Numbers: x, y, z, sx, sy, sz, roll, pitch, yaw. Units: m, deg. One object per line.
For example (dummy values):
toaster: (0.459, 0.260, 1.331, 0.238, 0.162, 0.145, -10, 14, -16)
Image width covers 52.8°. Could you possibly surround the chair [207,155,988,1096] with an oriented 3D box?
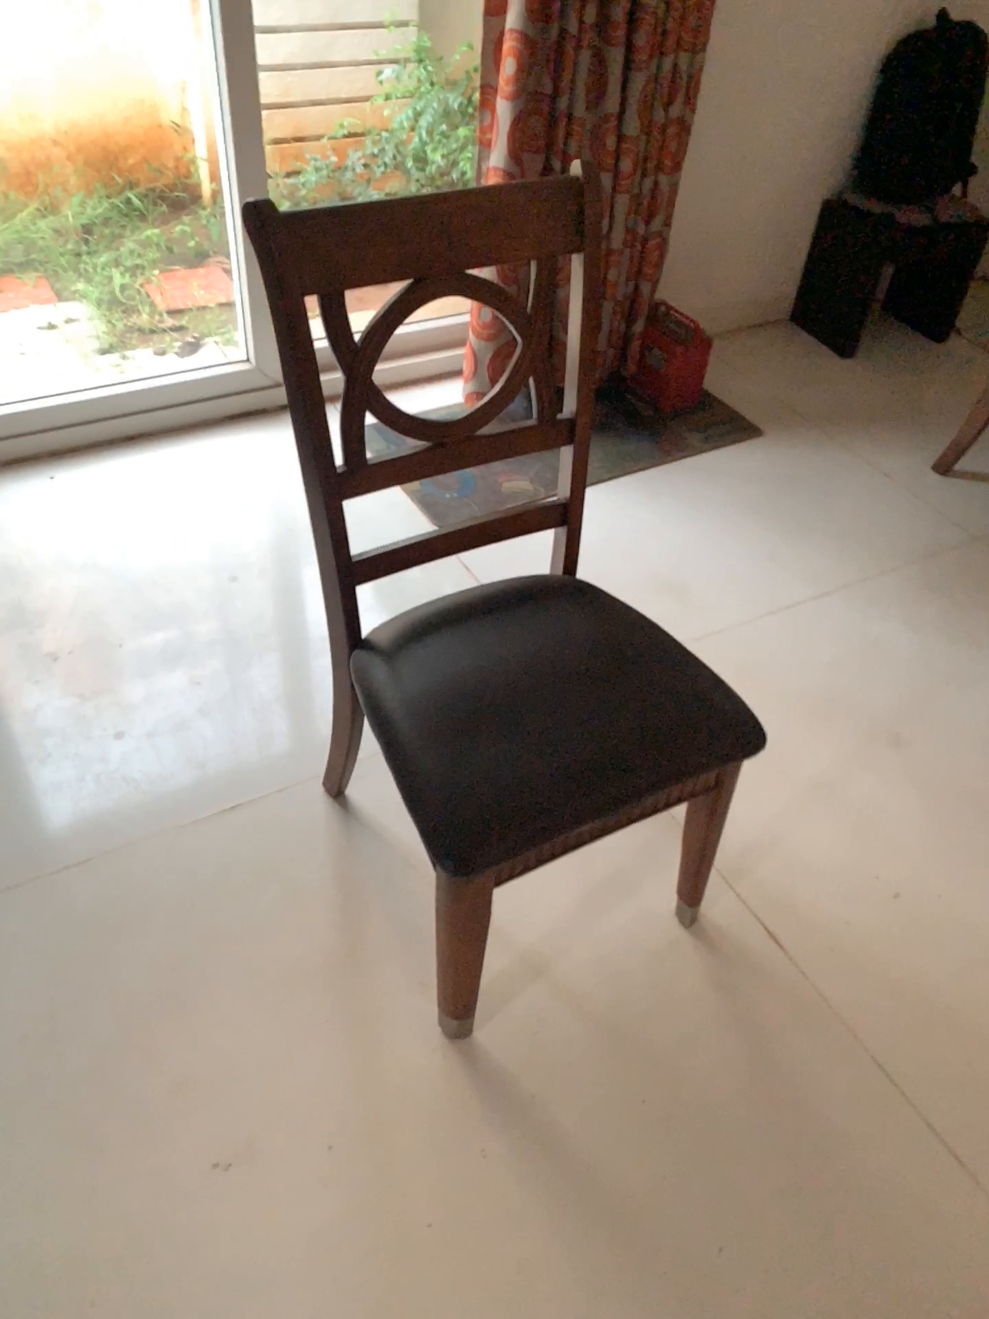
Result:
chair: (0.046, -0.025, 1.388, 0.570, 1.026, 0.642, -18, 48, -22)
